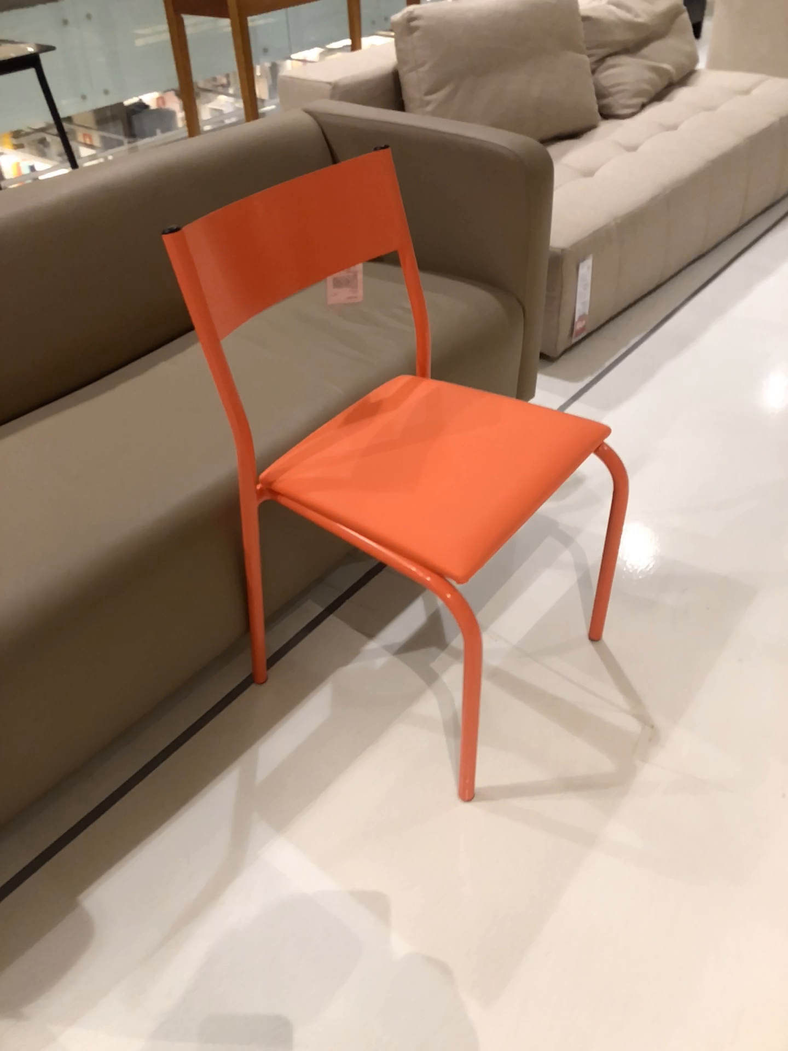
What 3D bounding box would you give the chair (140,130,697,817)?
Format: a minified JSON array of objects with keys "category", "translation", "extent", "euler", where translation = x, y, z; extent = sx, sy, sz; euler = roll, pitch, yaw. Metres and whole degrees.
[{"category":"chair","translation":[0.053,-0.092,1.319],"extent":[0.491,0.784,0.503],"euler":[25,46,31]}]
